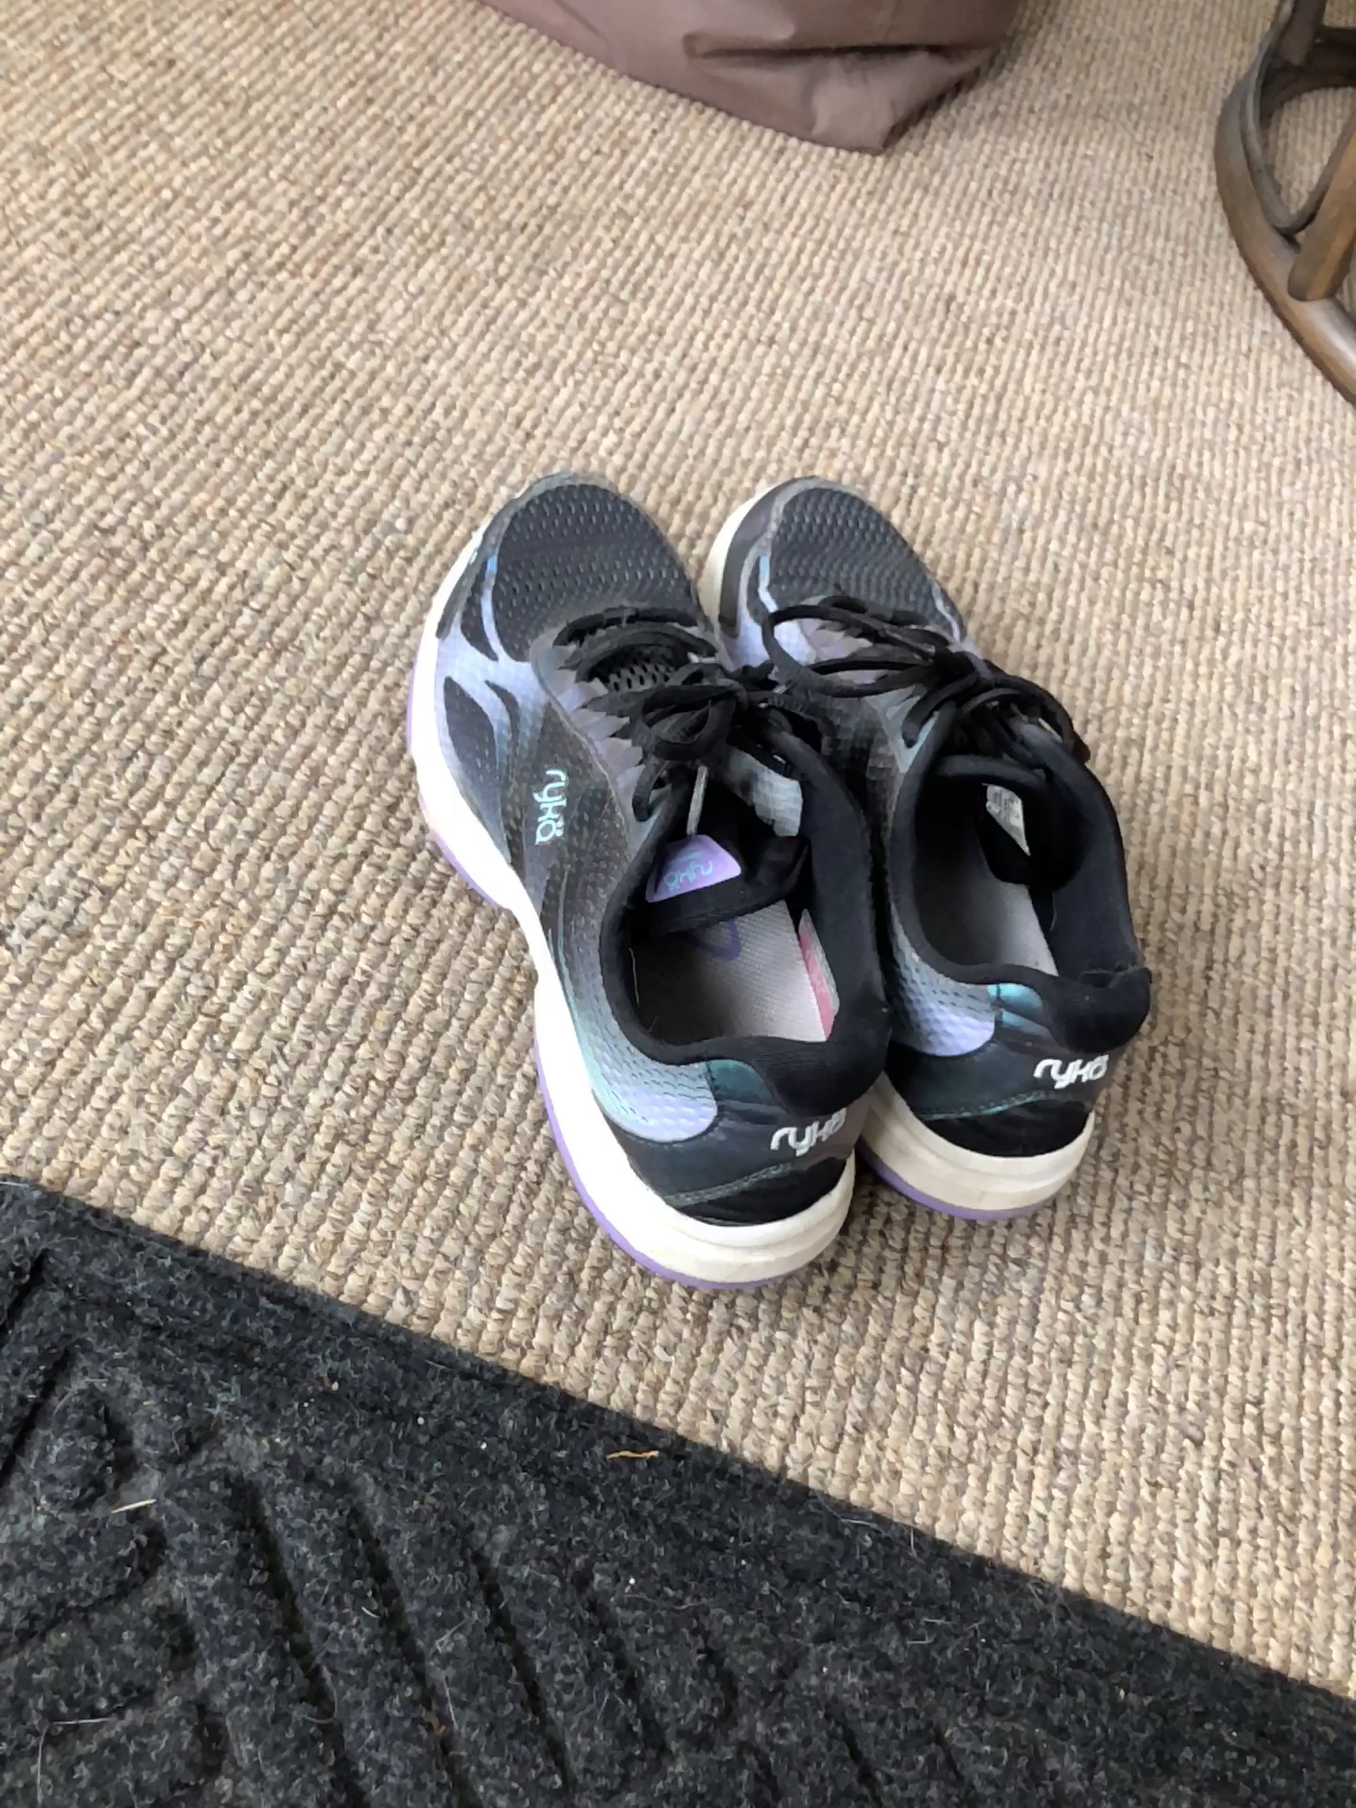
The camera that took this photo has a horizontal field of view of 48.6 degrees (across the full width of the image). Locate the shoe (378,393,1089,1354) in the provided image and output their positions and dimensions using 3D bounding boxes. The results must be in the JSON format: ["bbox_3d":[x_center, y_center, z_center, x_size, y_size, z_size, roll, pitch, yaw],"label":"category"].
[{"bbox_3d":[-0.001,-0.019,0.446,0.110,0.103,0.257,-5,60,-25],"label":"shoe"}]

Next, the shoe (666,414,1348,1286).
[{"bbox_3d":[0.088,-0.024,0.487,0.103,0.103,0.257,-2,59,-23],"label":"shoe"}]
